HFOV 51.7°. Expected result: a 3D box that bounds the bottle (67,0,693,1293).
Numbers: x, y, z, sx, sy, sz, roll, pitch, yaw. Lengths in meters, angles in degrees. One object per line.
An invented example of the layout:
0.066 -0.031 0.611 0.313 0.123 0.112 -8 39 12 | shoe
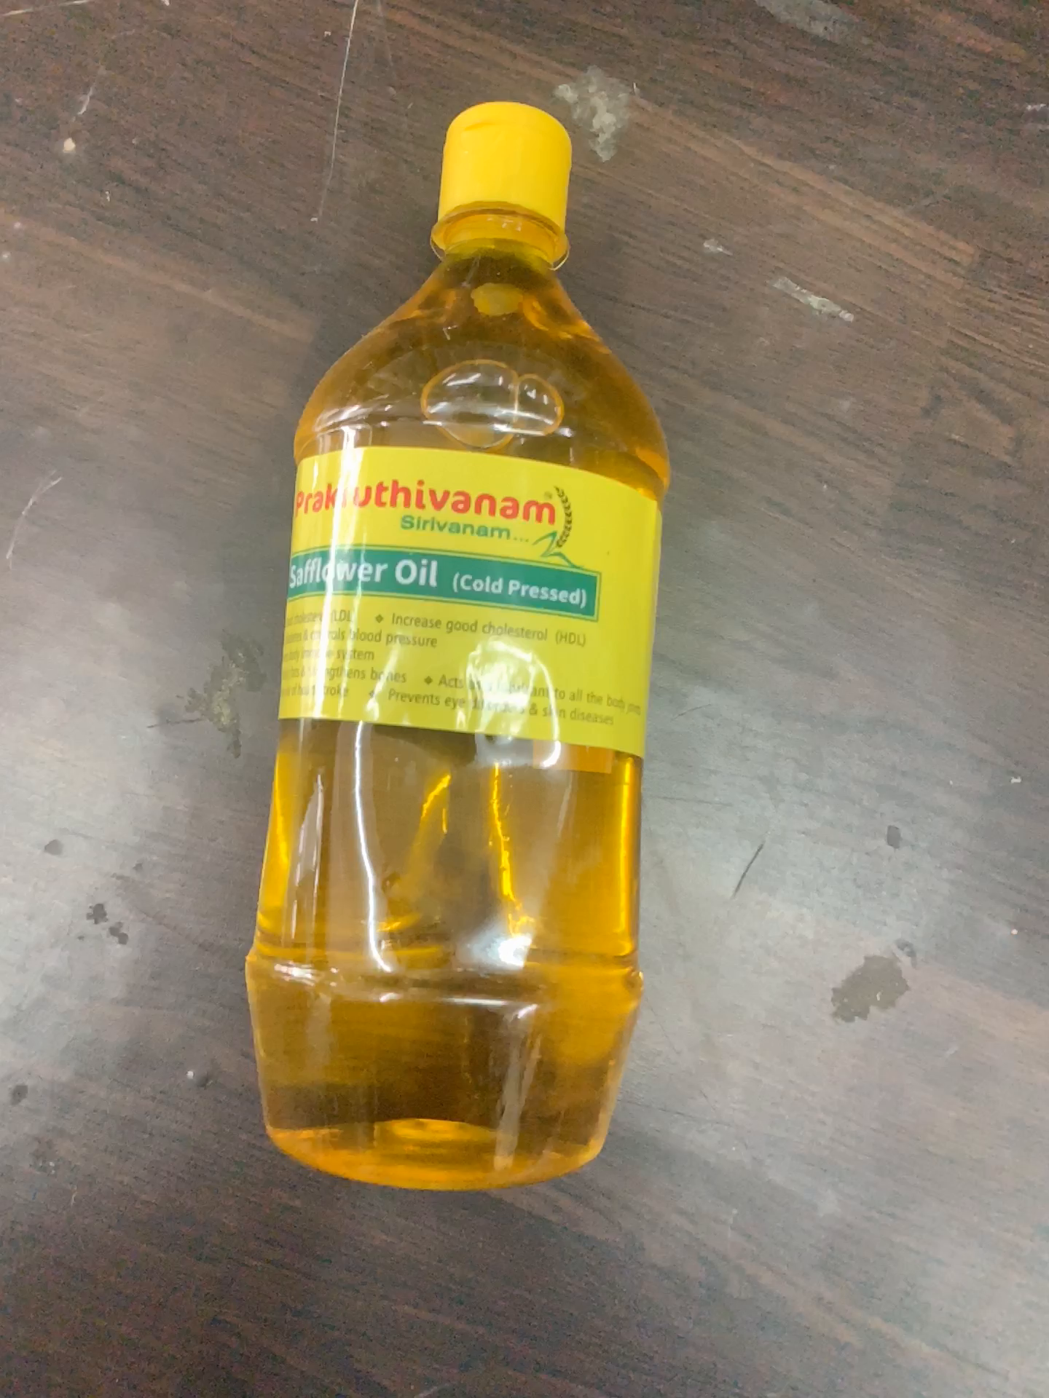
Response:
-0.020 -0.019 0.230 0.090 0.080 0.230 3 85 14 | bottle
